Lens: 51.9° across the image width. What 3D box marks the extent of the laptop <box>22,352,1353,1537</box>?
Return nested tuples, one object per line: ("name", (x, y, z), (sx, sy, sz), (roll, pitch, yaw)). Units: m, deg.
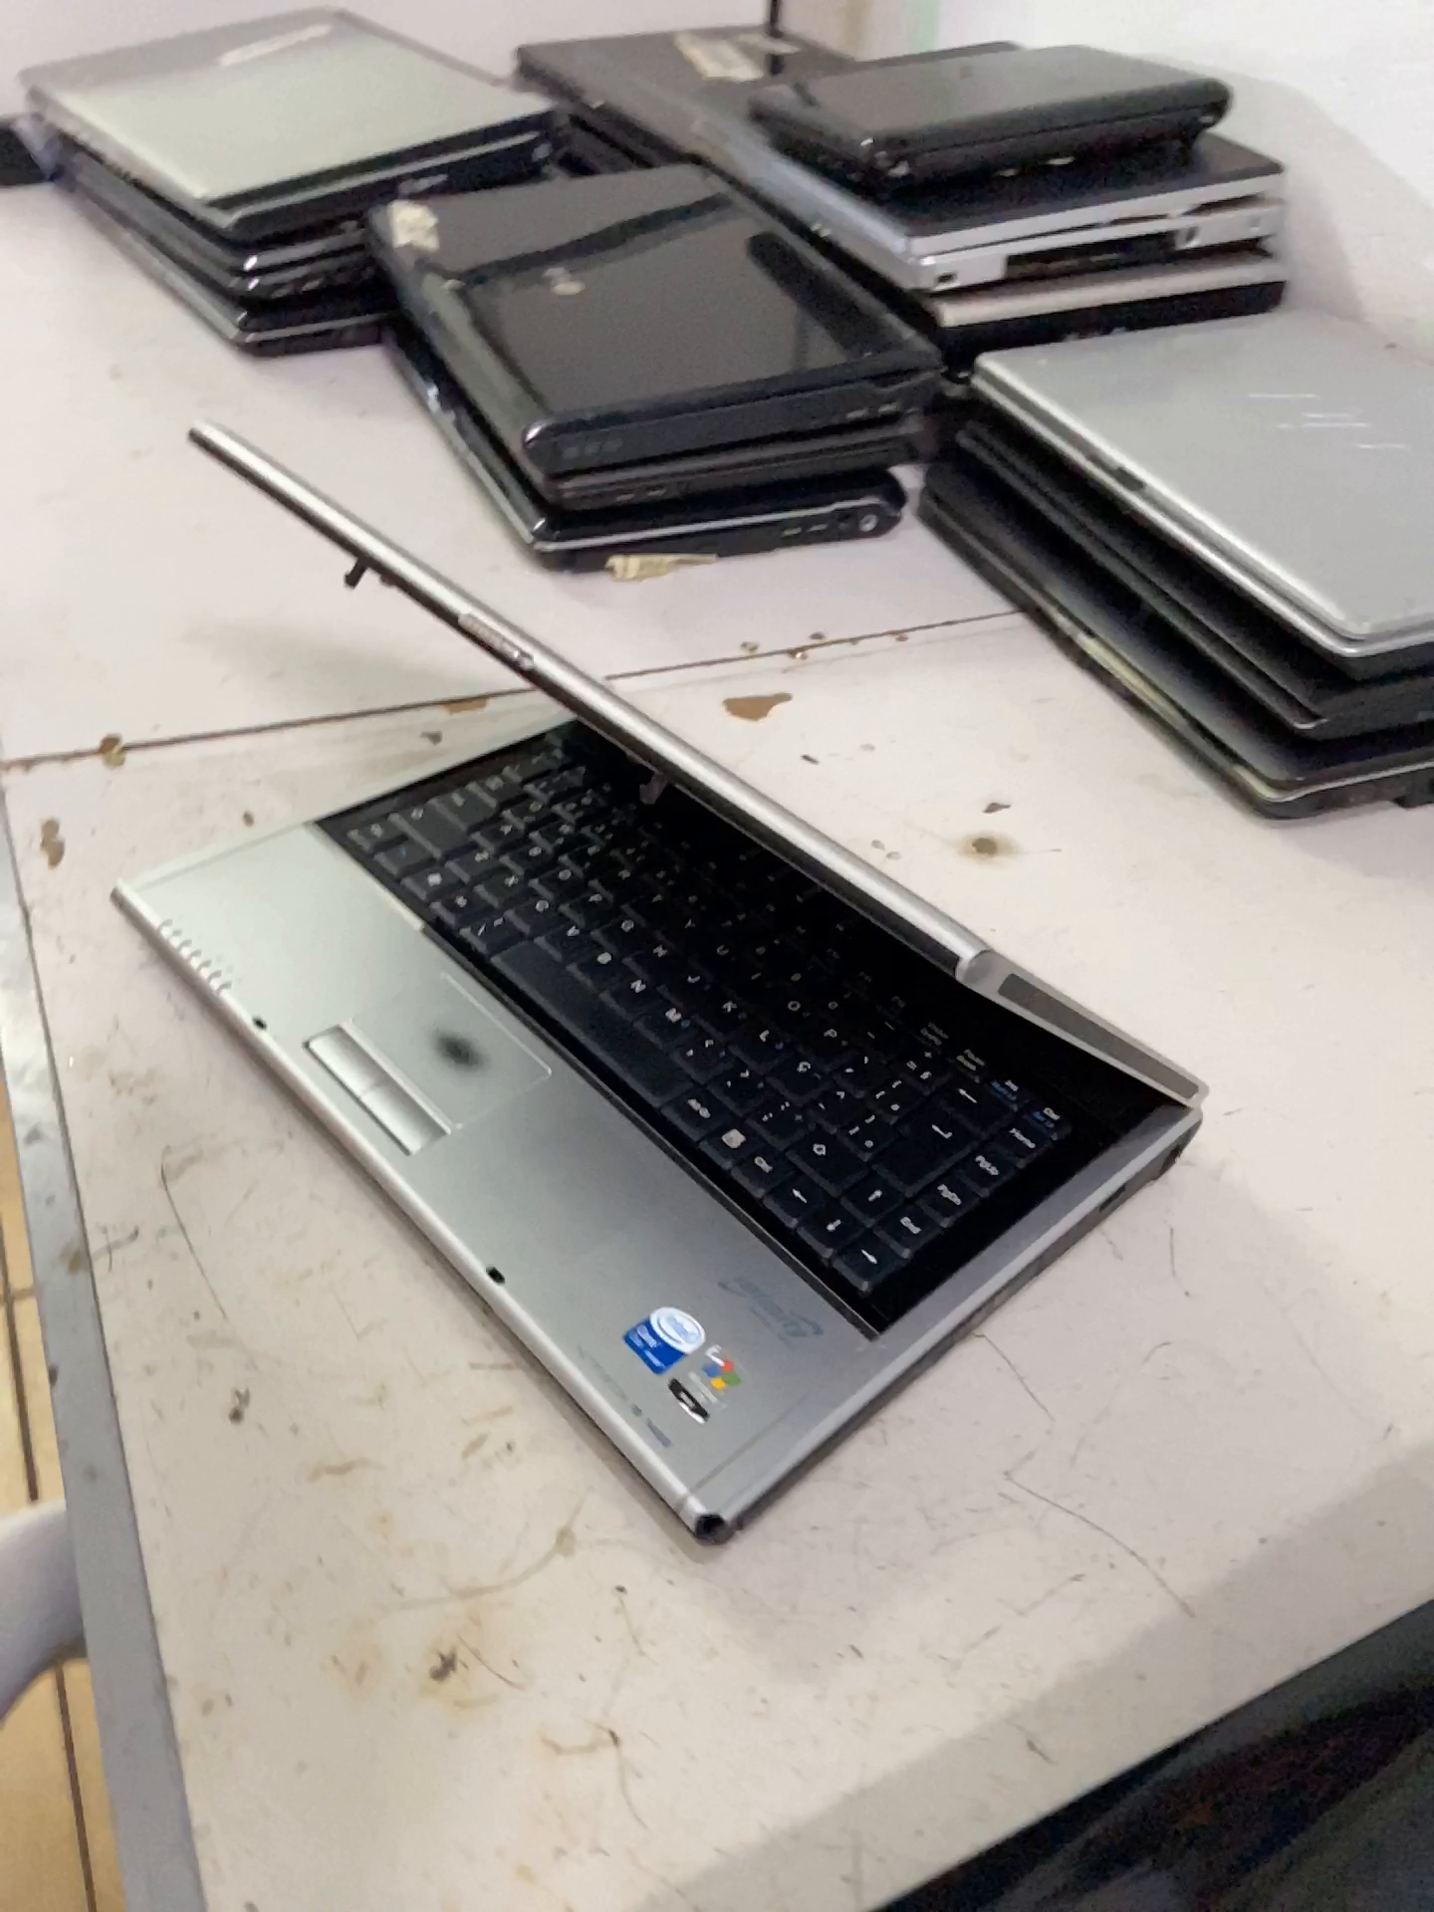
("laptop", (-0.026, -0.043, 0.480), (0.228, 0.164, 0.331), (-28, 51, -33))
